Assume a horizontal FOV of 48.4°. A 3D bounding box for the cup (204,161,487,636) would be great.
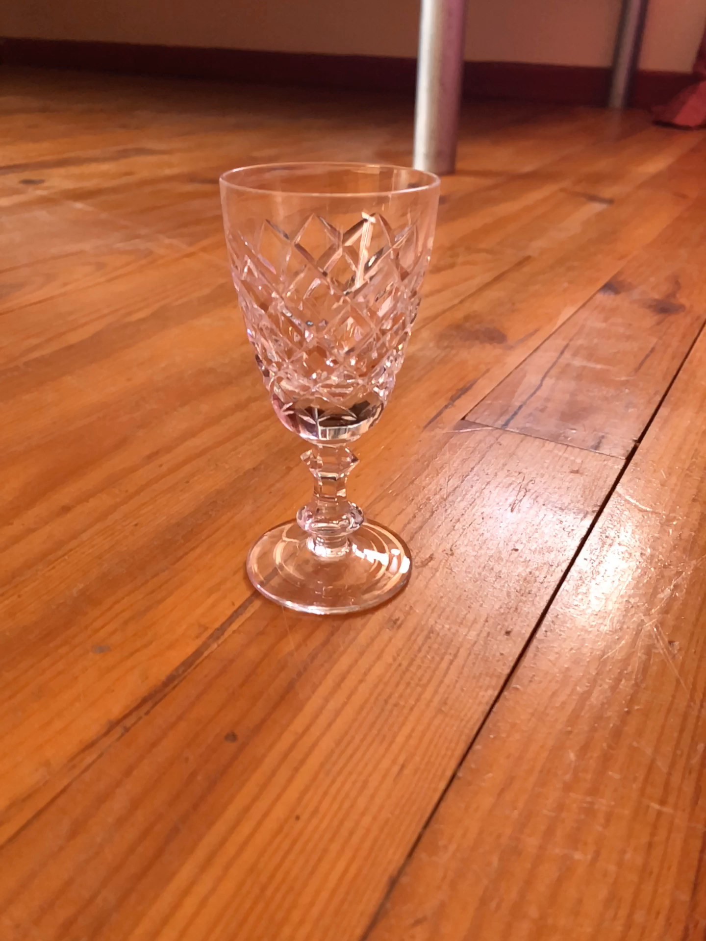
[{"bbox_3d":[-0.006,-0.020,0.214,0.059,0.113,0.057,1,27,-1],"label":"cup"}]
